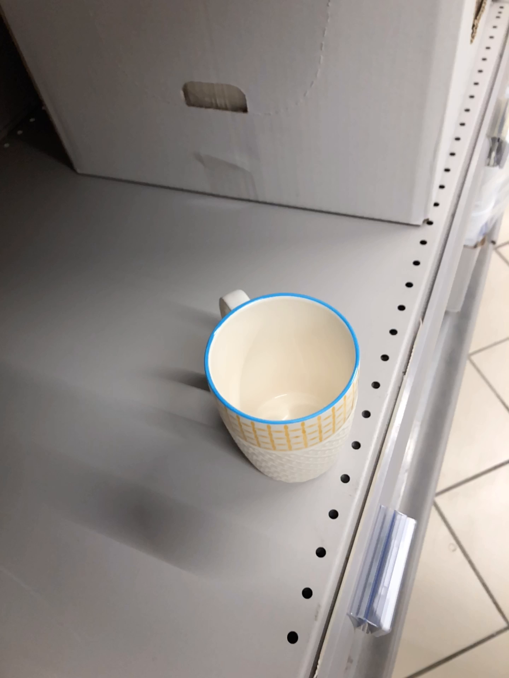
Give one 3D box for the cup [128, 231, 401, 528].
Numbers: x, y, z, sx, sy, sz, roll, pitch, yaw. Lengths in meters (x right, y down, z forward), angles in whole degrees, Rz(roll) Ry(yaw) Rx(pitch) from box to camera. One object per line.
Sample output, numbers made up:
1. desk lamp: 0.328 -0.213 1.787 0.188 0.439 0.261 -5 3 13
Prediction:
1. cup: 0.008 0.024 0.347 0.105 0.092 0.118 -32 57 -10
